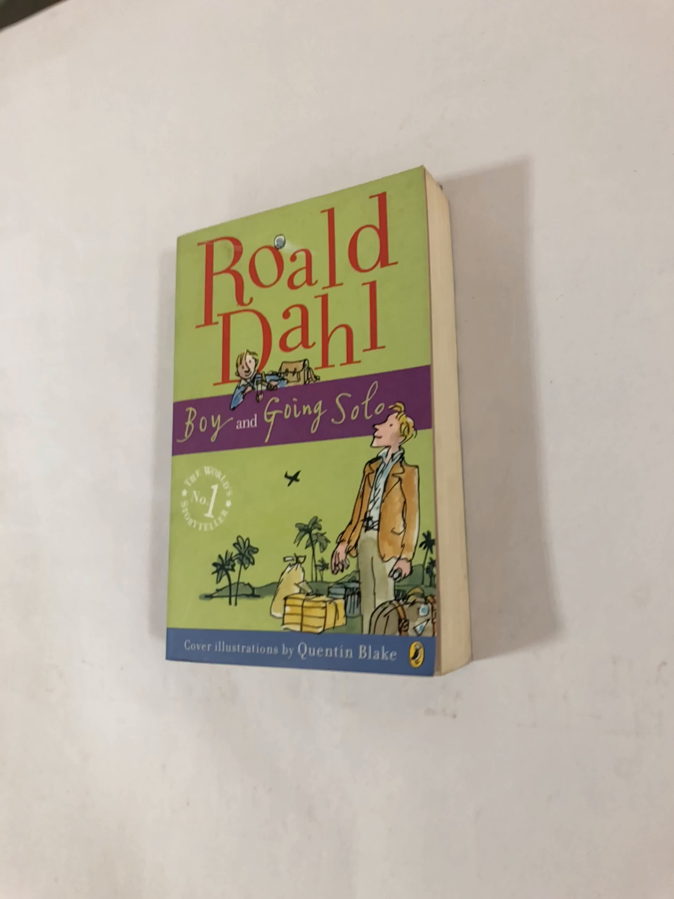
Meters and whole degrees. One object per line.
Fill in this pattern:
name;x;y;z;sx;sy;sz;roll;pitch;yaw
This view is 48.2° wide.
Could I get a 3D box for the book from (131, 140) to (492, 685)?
book;-0.016;-0.009;0.308;0.140;0.036;0.193;-6;79;27
